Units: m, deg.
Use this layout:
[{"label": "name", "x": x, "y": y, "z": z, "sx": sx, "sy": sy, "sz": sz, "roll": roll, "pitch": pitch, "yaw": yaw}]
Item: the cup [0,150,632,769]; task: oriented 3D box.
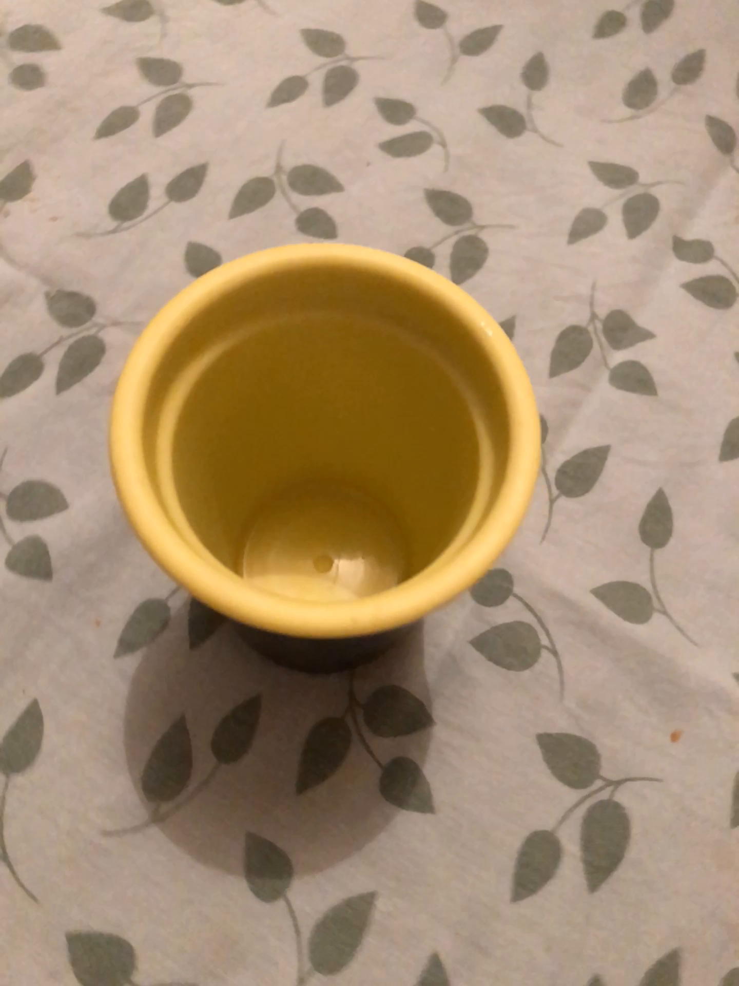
[{"label": "cup", "x": -0.014, "y": 0.002, "z": 0.213, "sx": 0.090, "sy": 0.110, "sz": 0.090, "roll": 1, "pitch": 69, "yaw": -3}]
